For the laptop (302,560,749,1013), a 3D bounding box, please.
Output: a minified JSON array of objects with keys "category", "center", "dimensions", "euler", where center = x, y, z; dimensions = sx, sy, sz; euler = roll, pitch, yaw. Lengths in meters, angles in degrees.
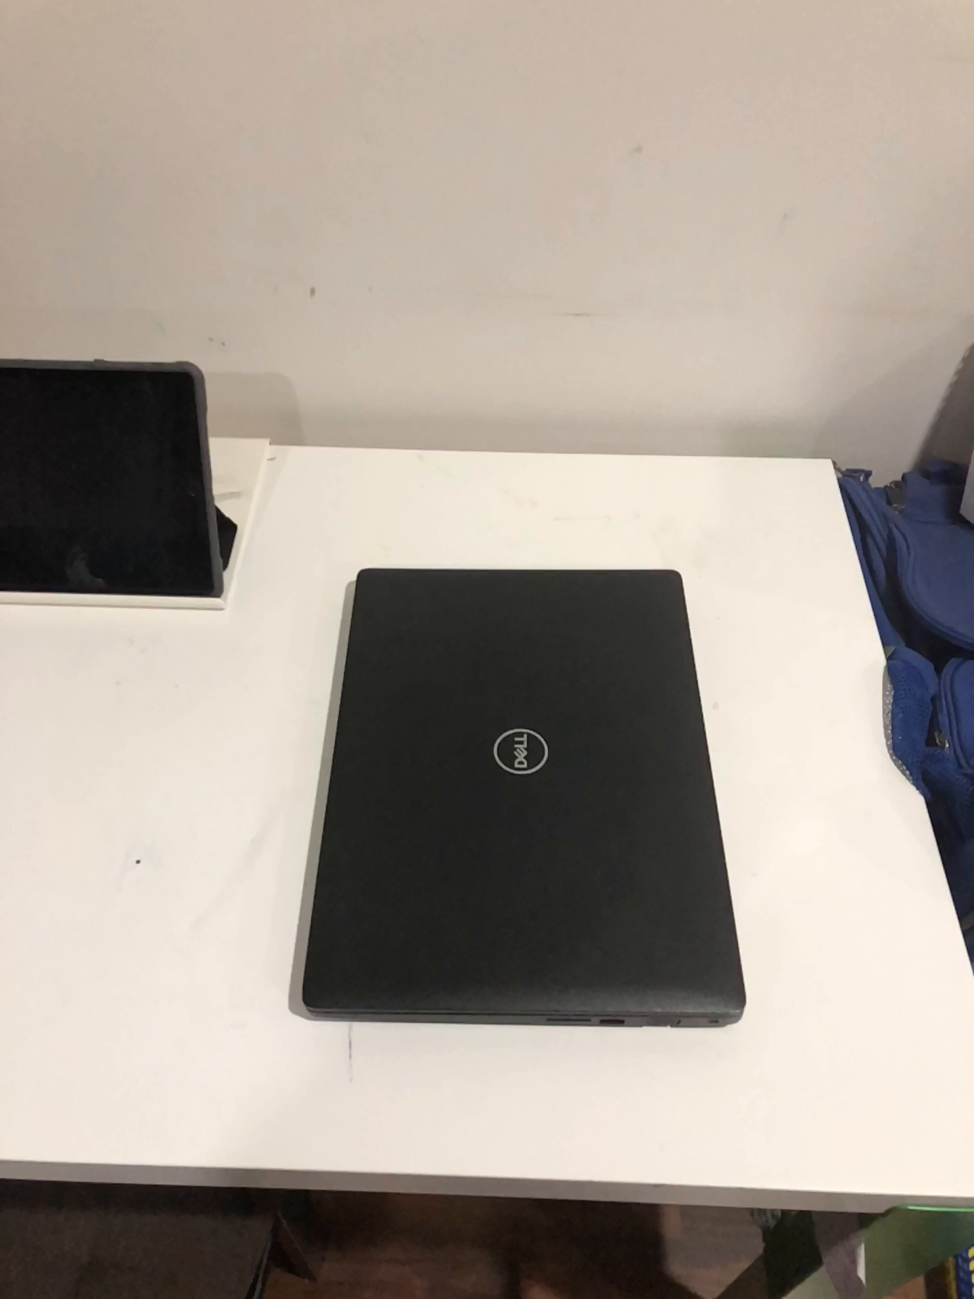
[{"category":"laptop","center":[0.022,0.066,0.686],"dimensions":[0.241,0.010,0.333],"euler":[-1,50,3]}]
